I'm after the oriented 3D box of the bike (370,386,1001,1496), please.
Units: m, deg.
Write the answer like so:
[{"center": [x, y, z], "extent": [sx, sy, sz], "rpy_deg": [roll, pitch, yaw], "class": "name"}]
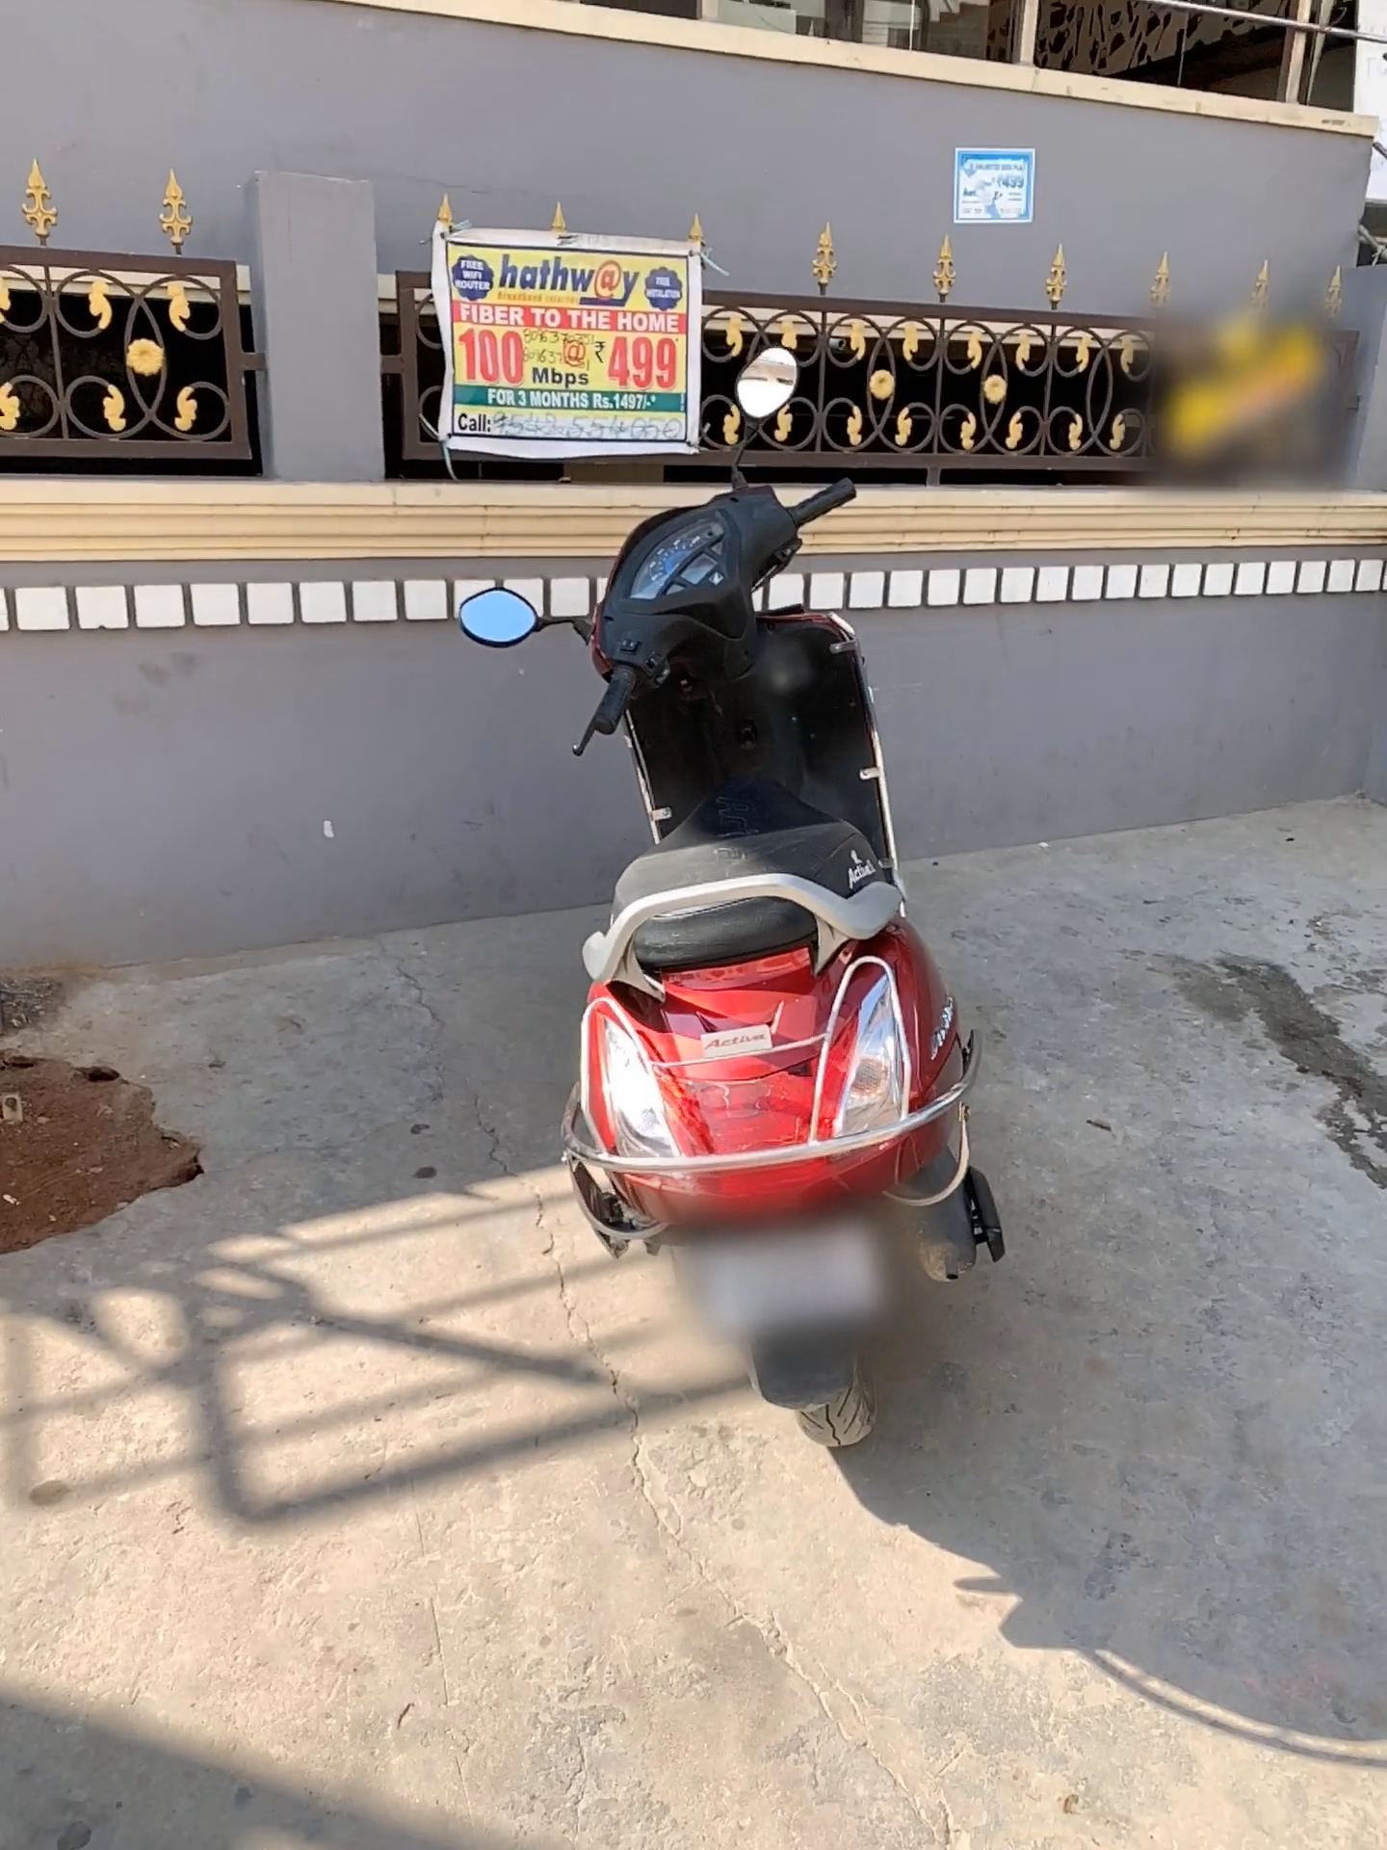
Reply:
[{"center": [-0.103, -0.213, 2.386], "extent": [0.622, 1.164, 1.763], "rpy_deg": [0, 23, -5], "class": "bike"}]
